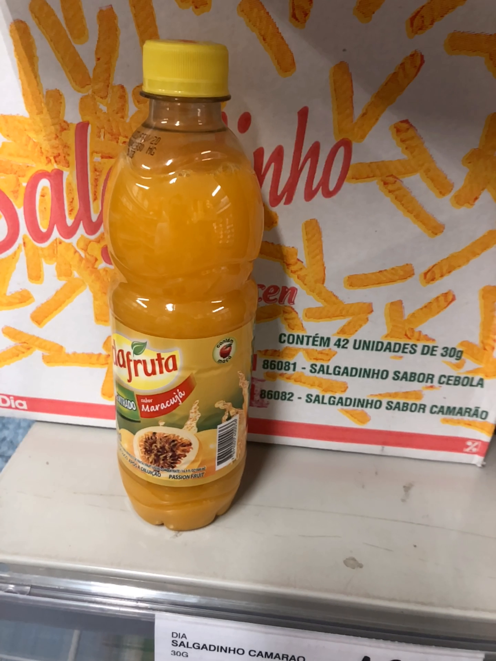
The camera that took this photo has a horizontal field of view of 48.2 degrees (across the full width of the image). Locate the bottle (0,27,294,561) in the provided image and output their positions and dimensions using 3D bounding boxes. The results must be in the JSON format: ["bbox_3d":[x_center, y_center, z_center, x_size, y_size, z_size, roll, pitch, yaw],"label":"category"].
[{"bbox_3d":[-0.033,-0.006,0.225,0.070,0.198,0.060,14,33,16],"label":"bottle"}]
